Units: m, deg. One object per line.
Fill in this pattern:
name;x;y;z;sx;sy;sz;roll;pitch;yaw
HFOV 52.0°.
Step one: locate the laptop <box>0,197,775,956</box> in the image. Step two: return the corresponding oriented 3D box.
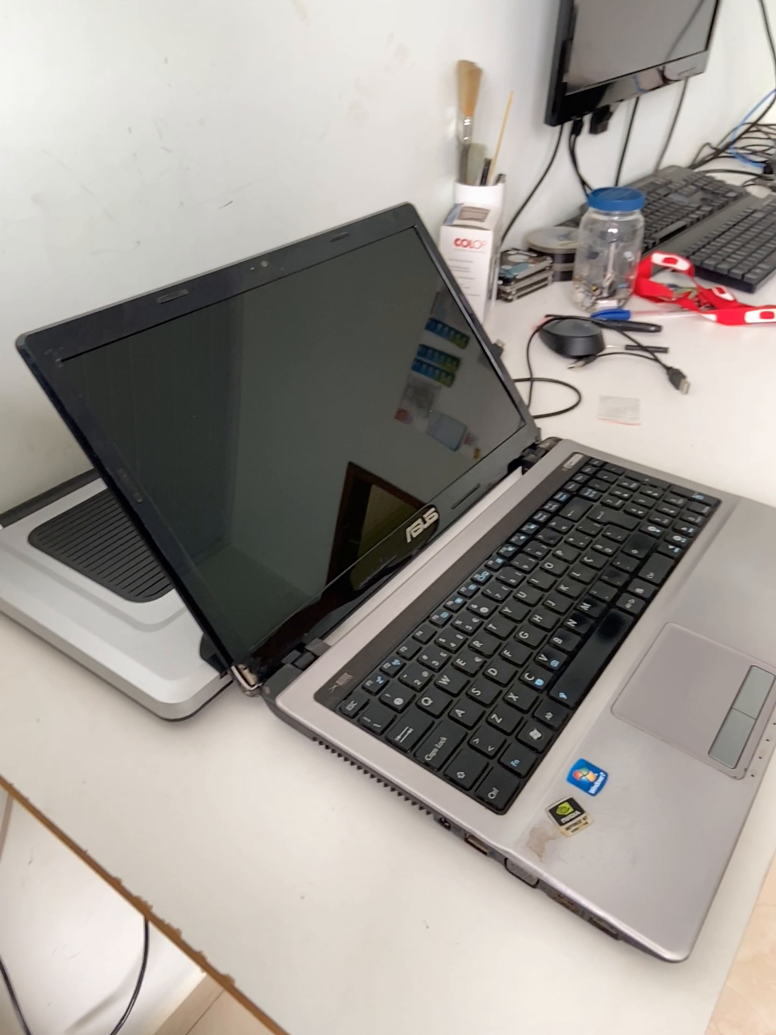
laptop;0.067;-0.044;0.515;0.415;0.179;0.378;23;41;29
